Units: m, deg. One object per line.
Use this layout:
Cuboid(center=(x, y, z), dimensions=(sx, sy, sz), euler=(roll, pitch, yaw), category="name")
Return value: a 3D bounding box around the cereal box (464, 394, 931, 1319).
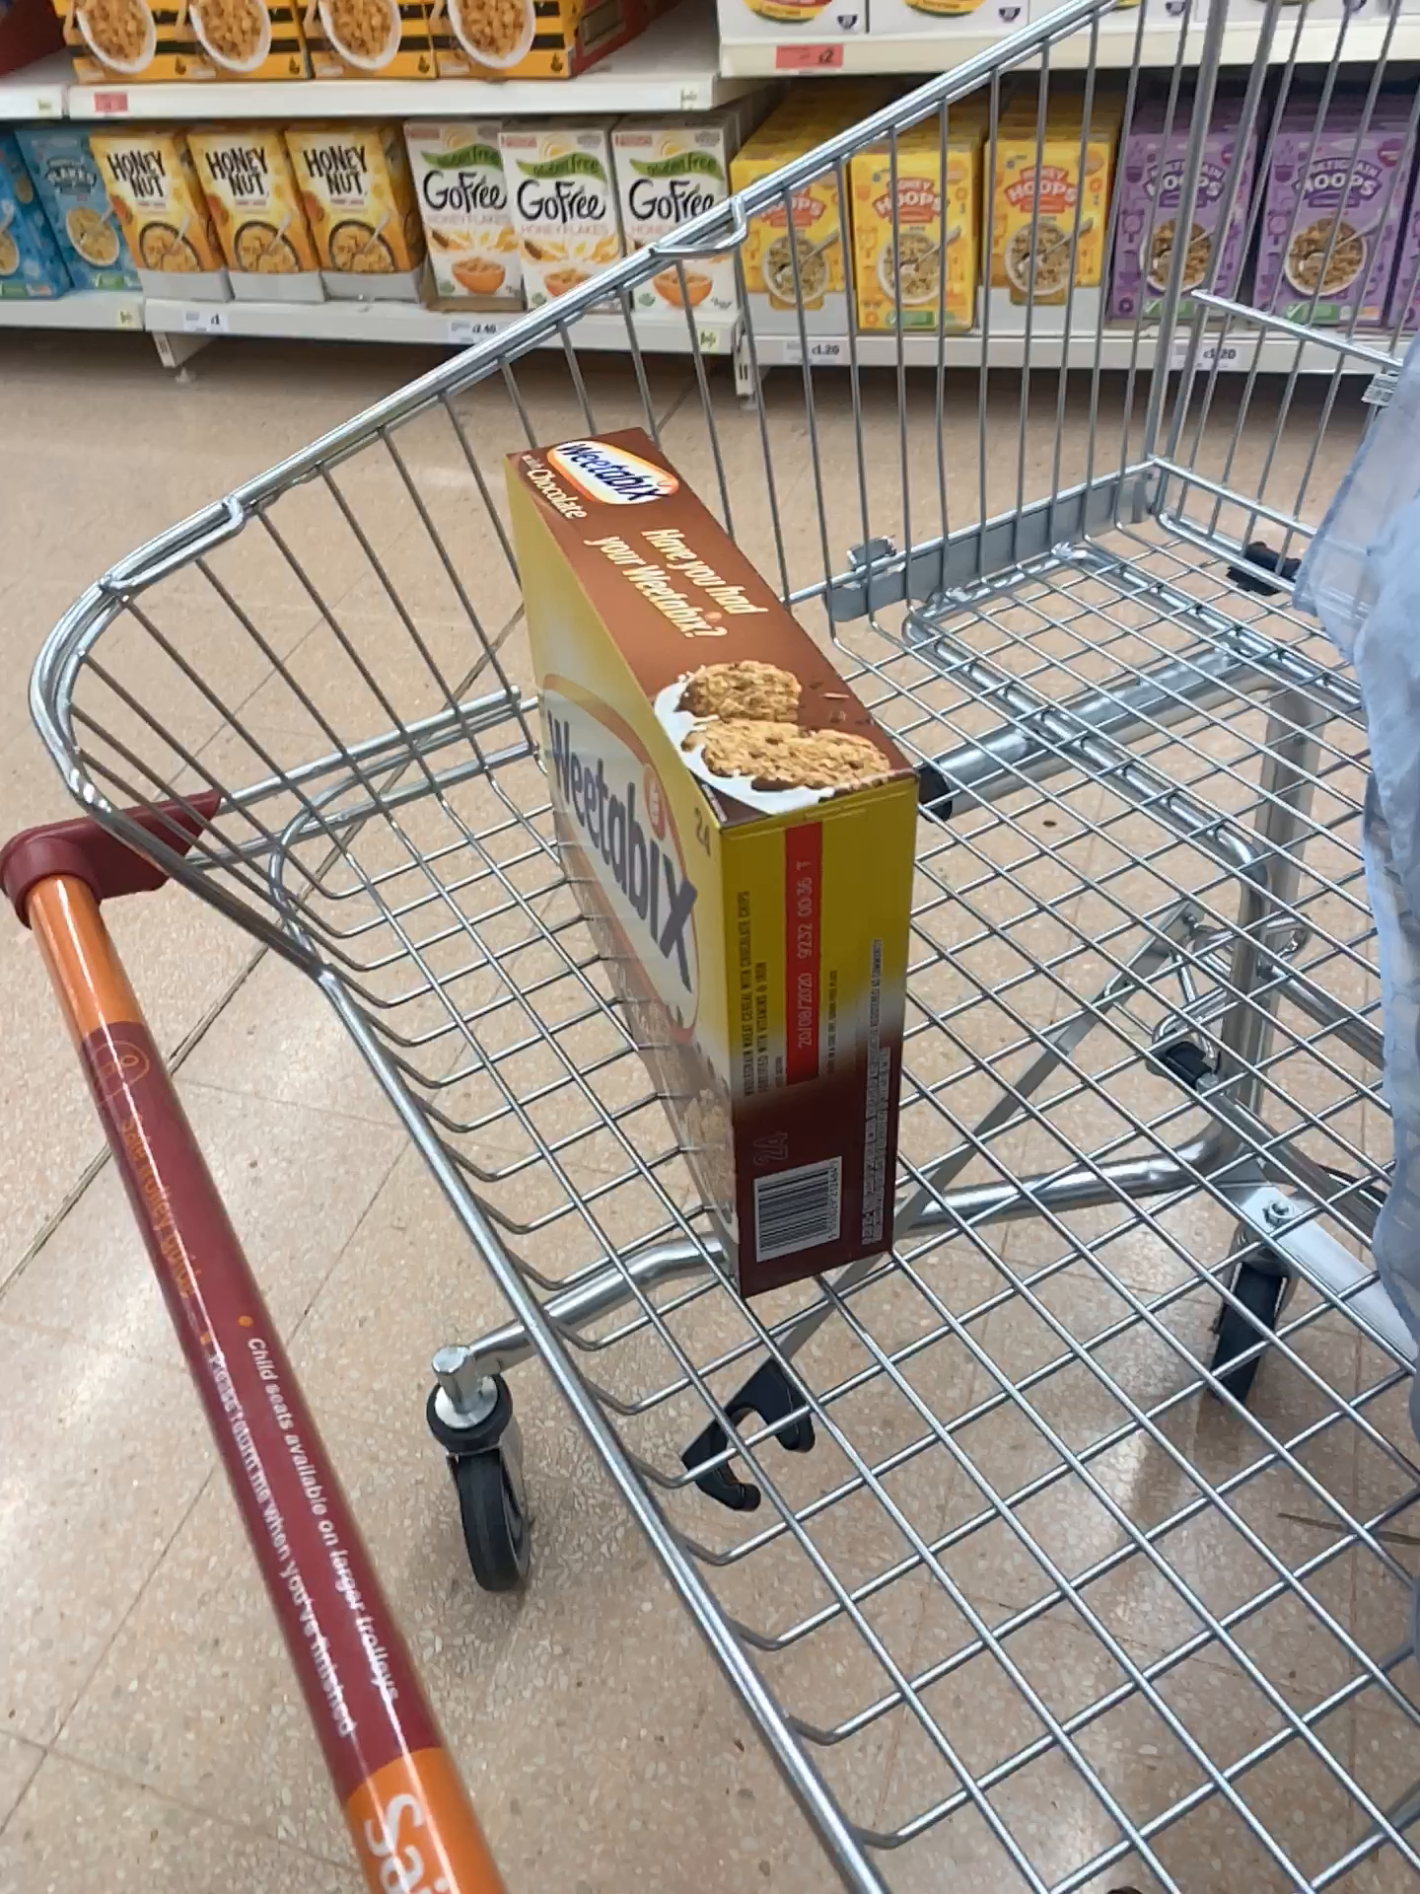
Cuboid(center=(-0.011, -0.040, 0.483), dimensions=(0.060, 0.188, 0.252), euler=(-15, 43, -11), category="cereal box")
